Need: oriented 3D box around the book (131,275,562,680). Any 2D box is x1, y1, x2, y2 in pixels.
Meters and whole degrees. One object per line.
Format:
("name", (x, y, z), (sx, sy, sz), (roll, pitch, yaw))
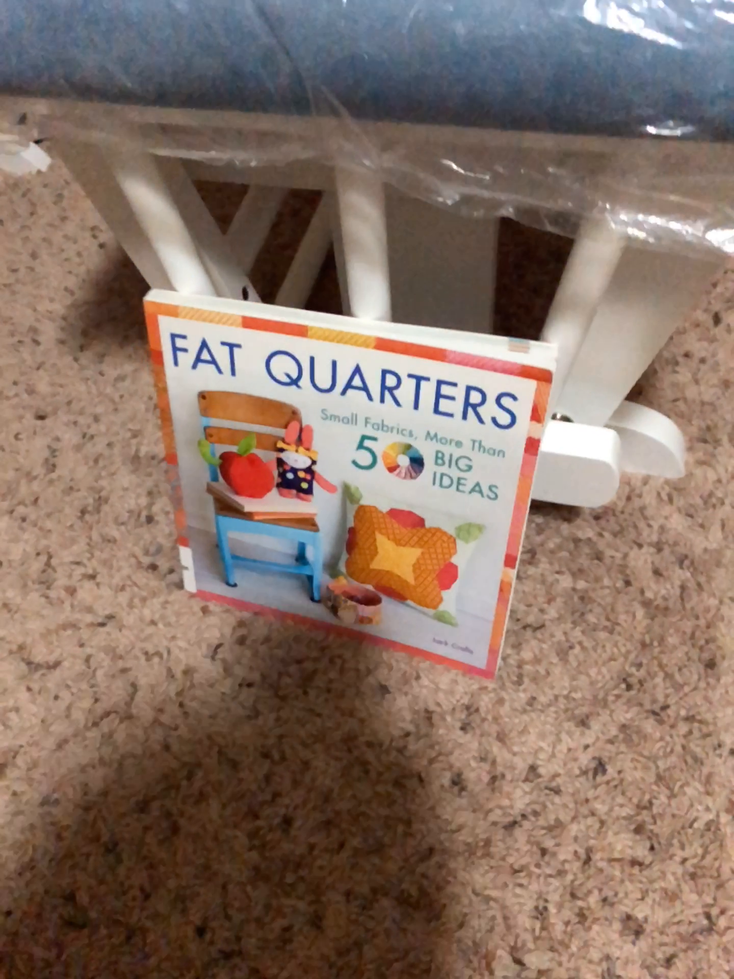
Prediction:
("book", (-0.017, -0.002, 0.441), (0.207, 0.193, 0.030), (13, 37, 15))
